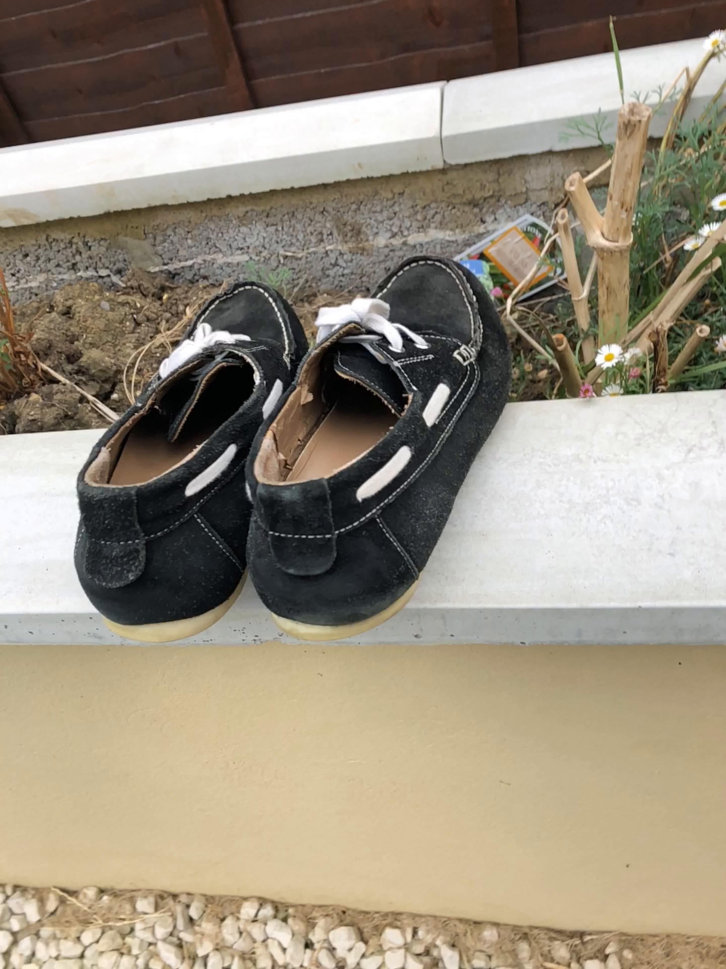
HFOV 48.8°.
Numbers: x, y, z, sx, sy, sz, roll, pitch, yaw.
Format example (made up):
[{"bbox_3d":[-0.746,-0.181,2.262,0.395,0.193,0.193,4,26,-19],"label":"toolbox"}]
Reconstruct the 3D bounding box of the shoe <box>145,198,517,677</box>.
[{"bbox_3d":[0.012,-0.051,0.429,0.110,0.089,0.302,1,39,16],"label":"shoe"}]

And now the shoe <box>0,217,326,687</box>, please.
[{"bbox_3d":[-0.103,-0.044,0.456,0.120,0.089,0.312,-7,37,9],"label":"shoe"}]
